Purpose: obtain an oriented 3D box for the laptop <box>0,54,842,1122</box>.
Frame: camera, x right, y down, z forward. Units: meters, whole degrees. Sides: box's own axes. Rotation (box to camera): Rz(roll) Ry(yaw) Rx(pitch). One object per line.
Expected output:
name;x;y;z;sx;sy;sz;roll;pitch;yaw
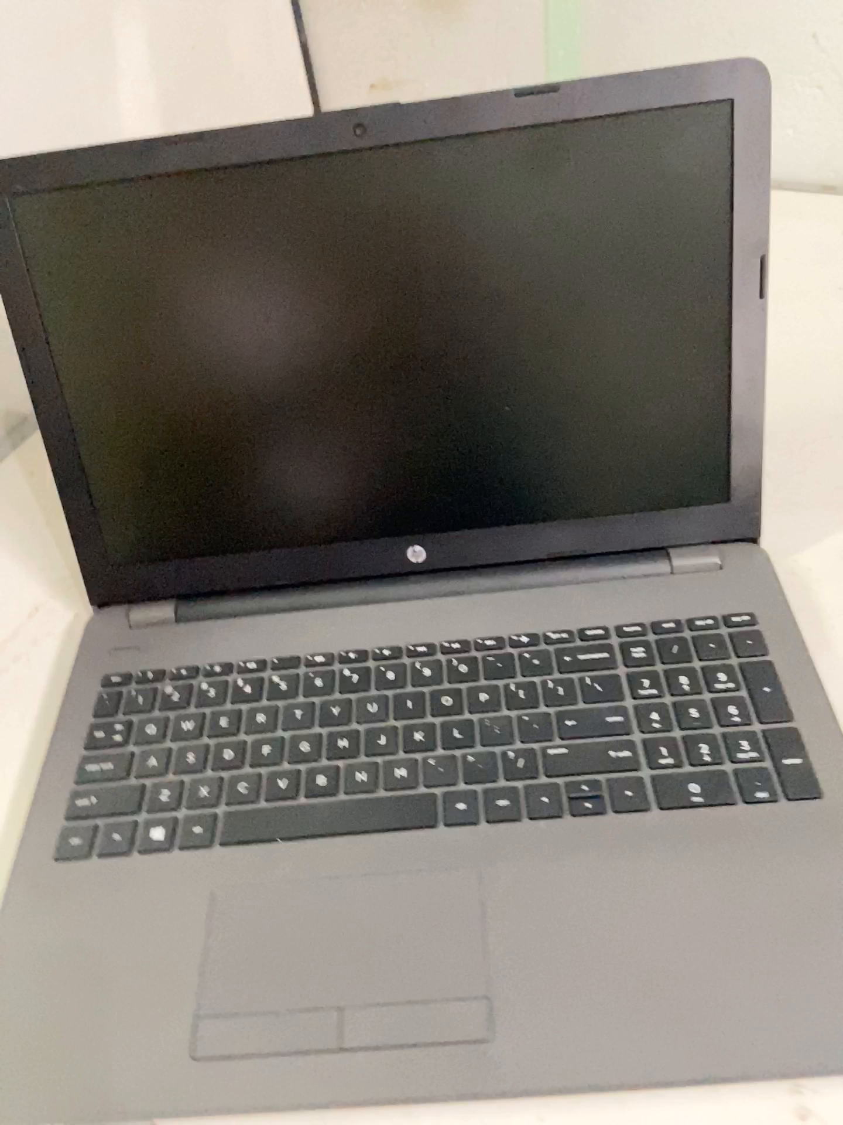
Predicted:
laptop;-0.011;-0.009;0.368;0.380;0.206;0.366;-6;48;4
